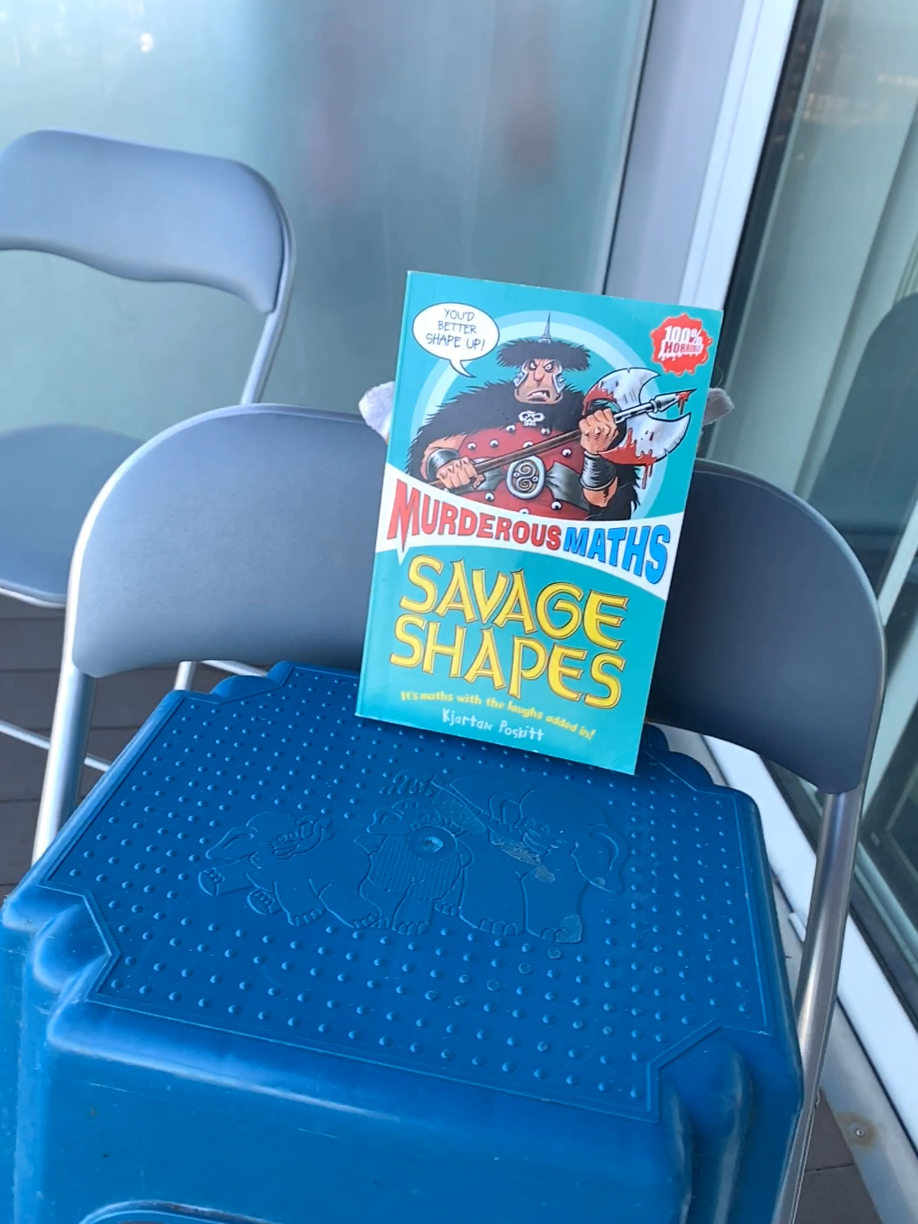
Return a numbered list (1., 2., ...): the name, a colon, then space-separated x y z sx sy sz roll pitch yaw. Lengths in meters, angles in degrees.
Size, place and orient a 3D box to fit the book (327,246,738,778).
1. book: 0.025 -0.039 0.395 0.133 0.193 0.029 11 13 6
